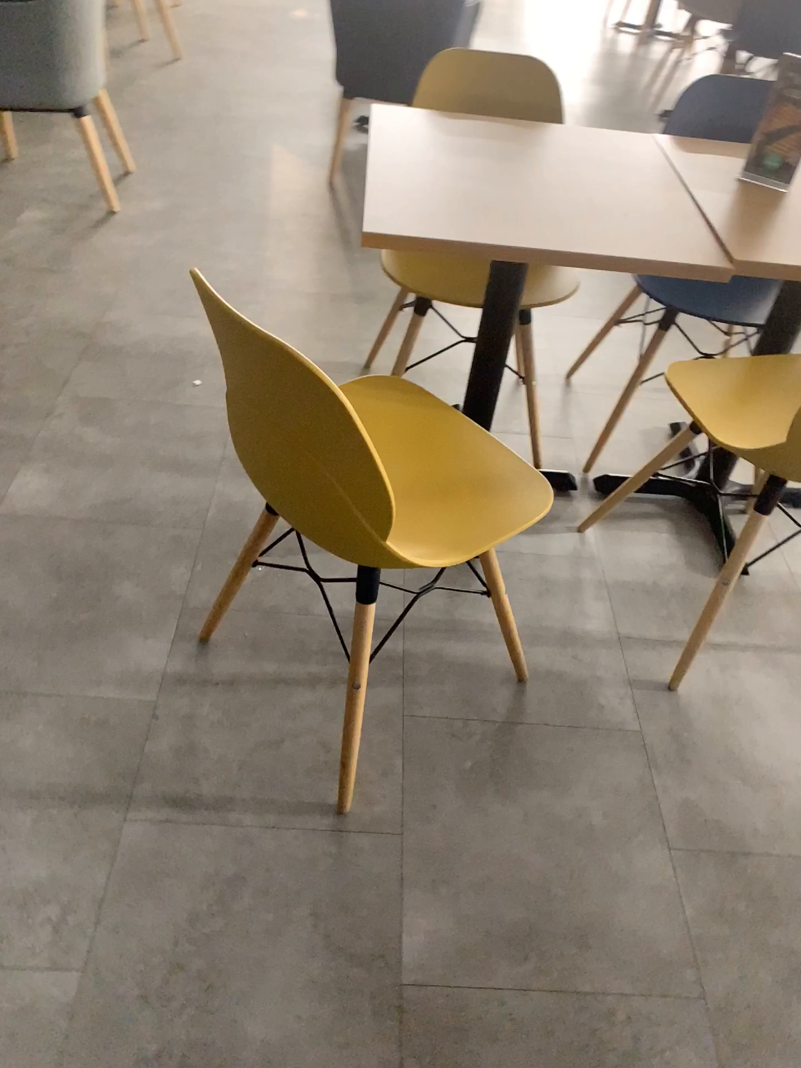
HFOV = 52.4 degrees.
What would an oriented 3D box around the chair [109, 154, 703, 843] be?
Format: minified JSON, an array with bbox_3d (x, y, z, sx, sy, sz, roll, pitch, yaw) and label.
[{"bbox_3d":[-0.031,-0.057,1.261,0.521,0.781,0.519,-27,53,-31],"label":"chair"}]

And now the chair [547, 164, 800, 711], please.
[{"bbox_3d":[0.691,-0.171,1.485,0.517,0.781,0.533,-7,45,-15],"label":"chair"}]
